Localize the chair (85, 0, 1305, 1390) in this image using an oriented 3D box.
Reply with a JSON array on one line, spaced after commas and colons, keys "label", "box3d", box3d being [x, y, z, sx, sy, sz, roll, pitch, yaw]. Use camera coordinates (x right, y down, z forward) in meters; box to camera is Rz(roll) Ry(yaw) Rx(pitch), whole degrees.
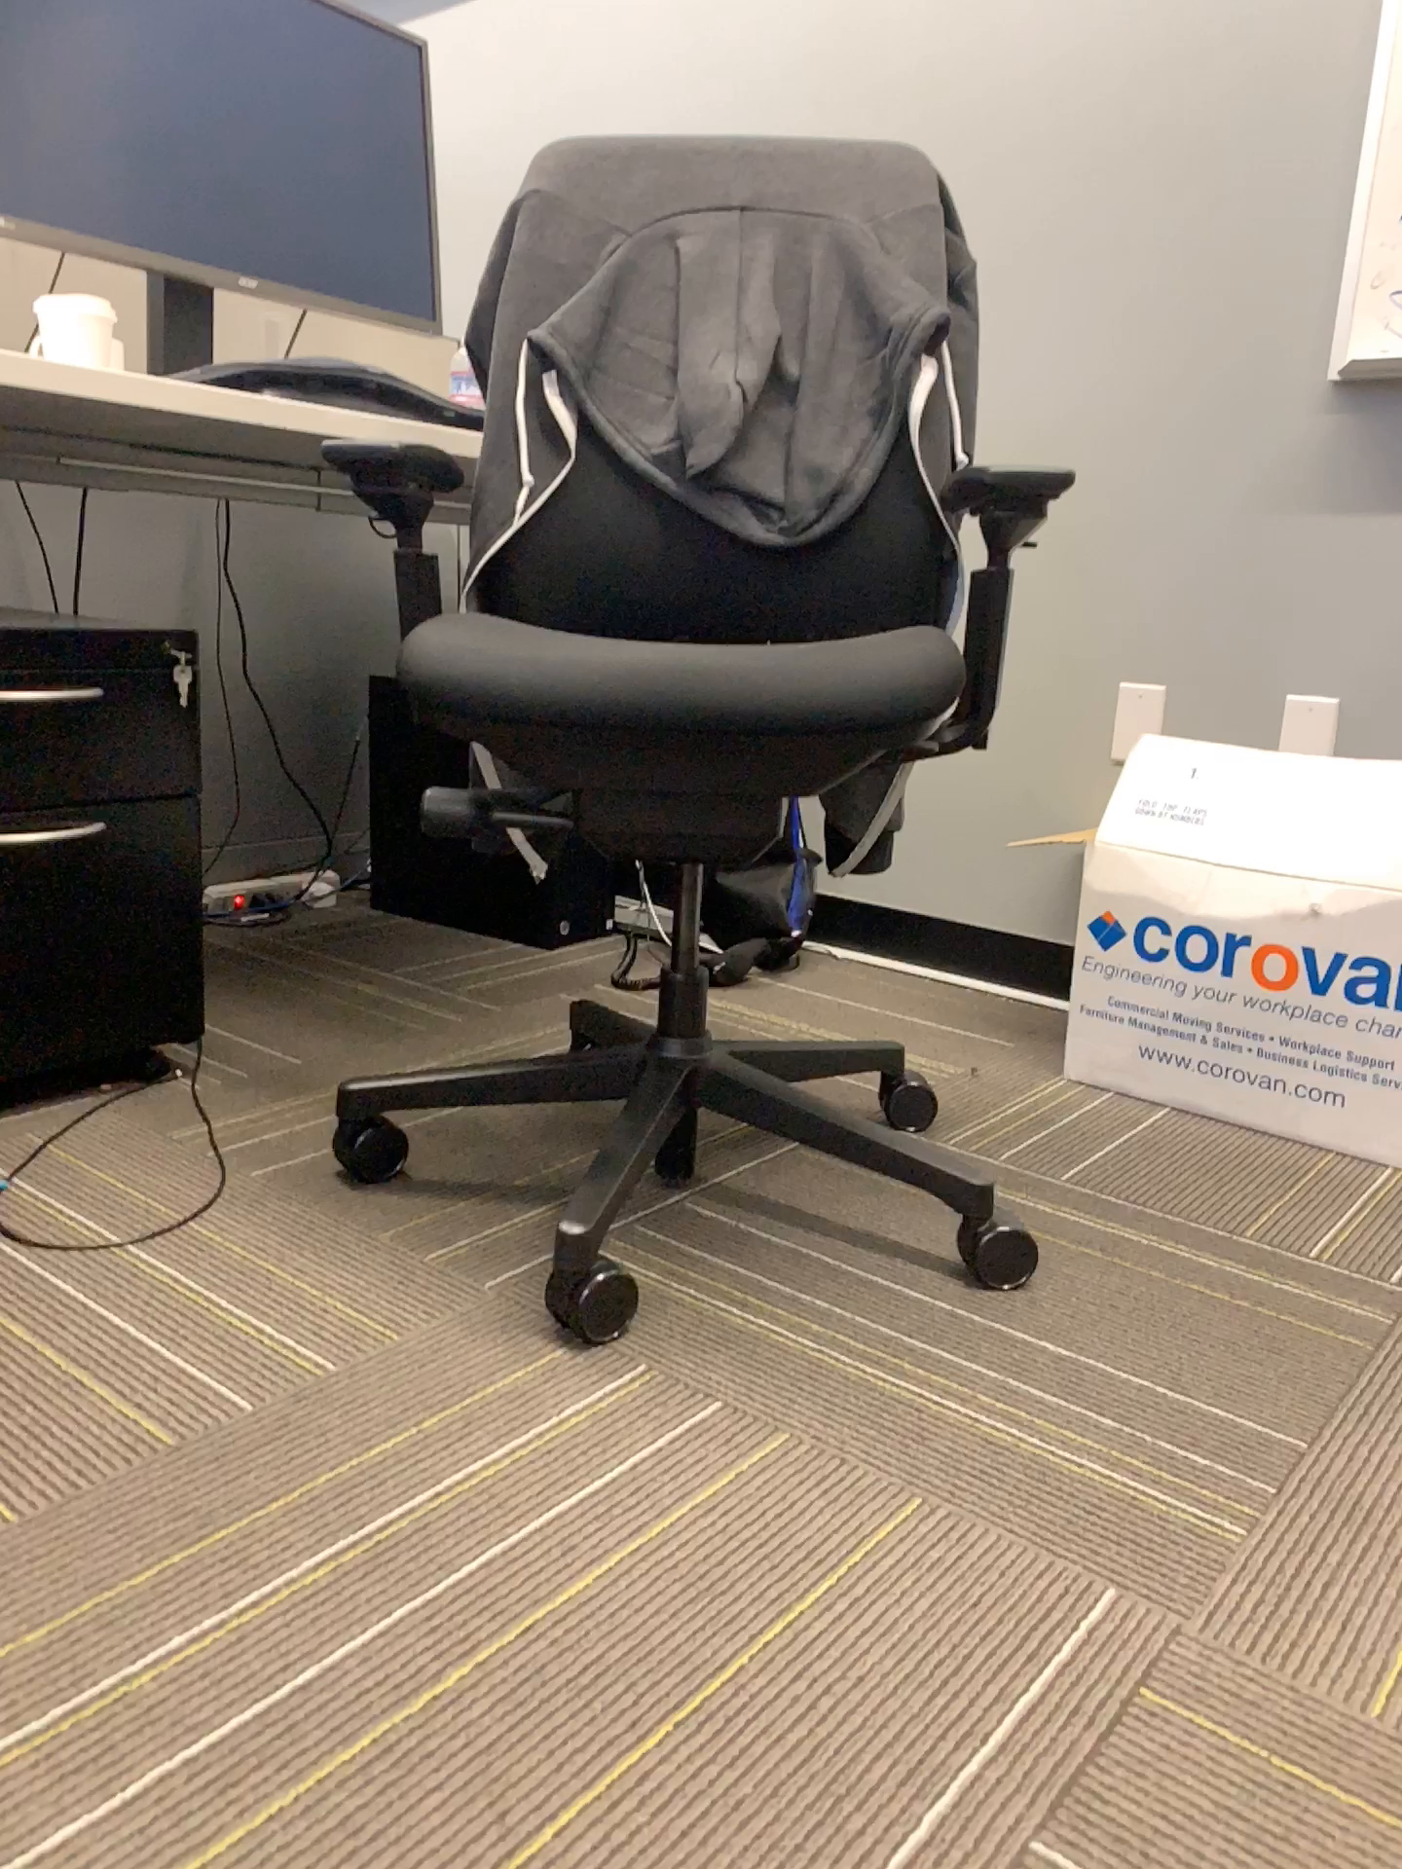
[{"label": "chair", "box3d": [-0.012, -0.307, 1.418, 0.750, 1.076, 0.883, 4, 13, 4]}]
